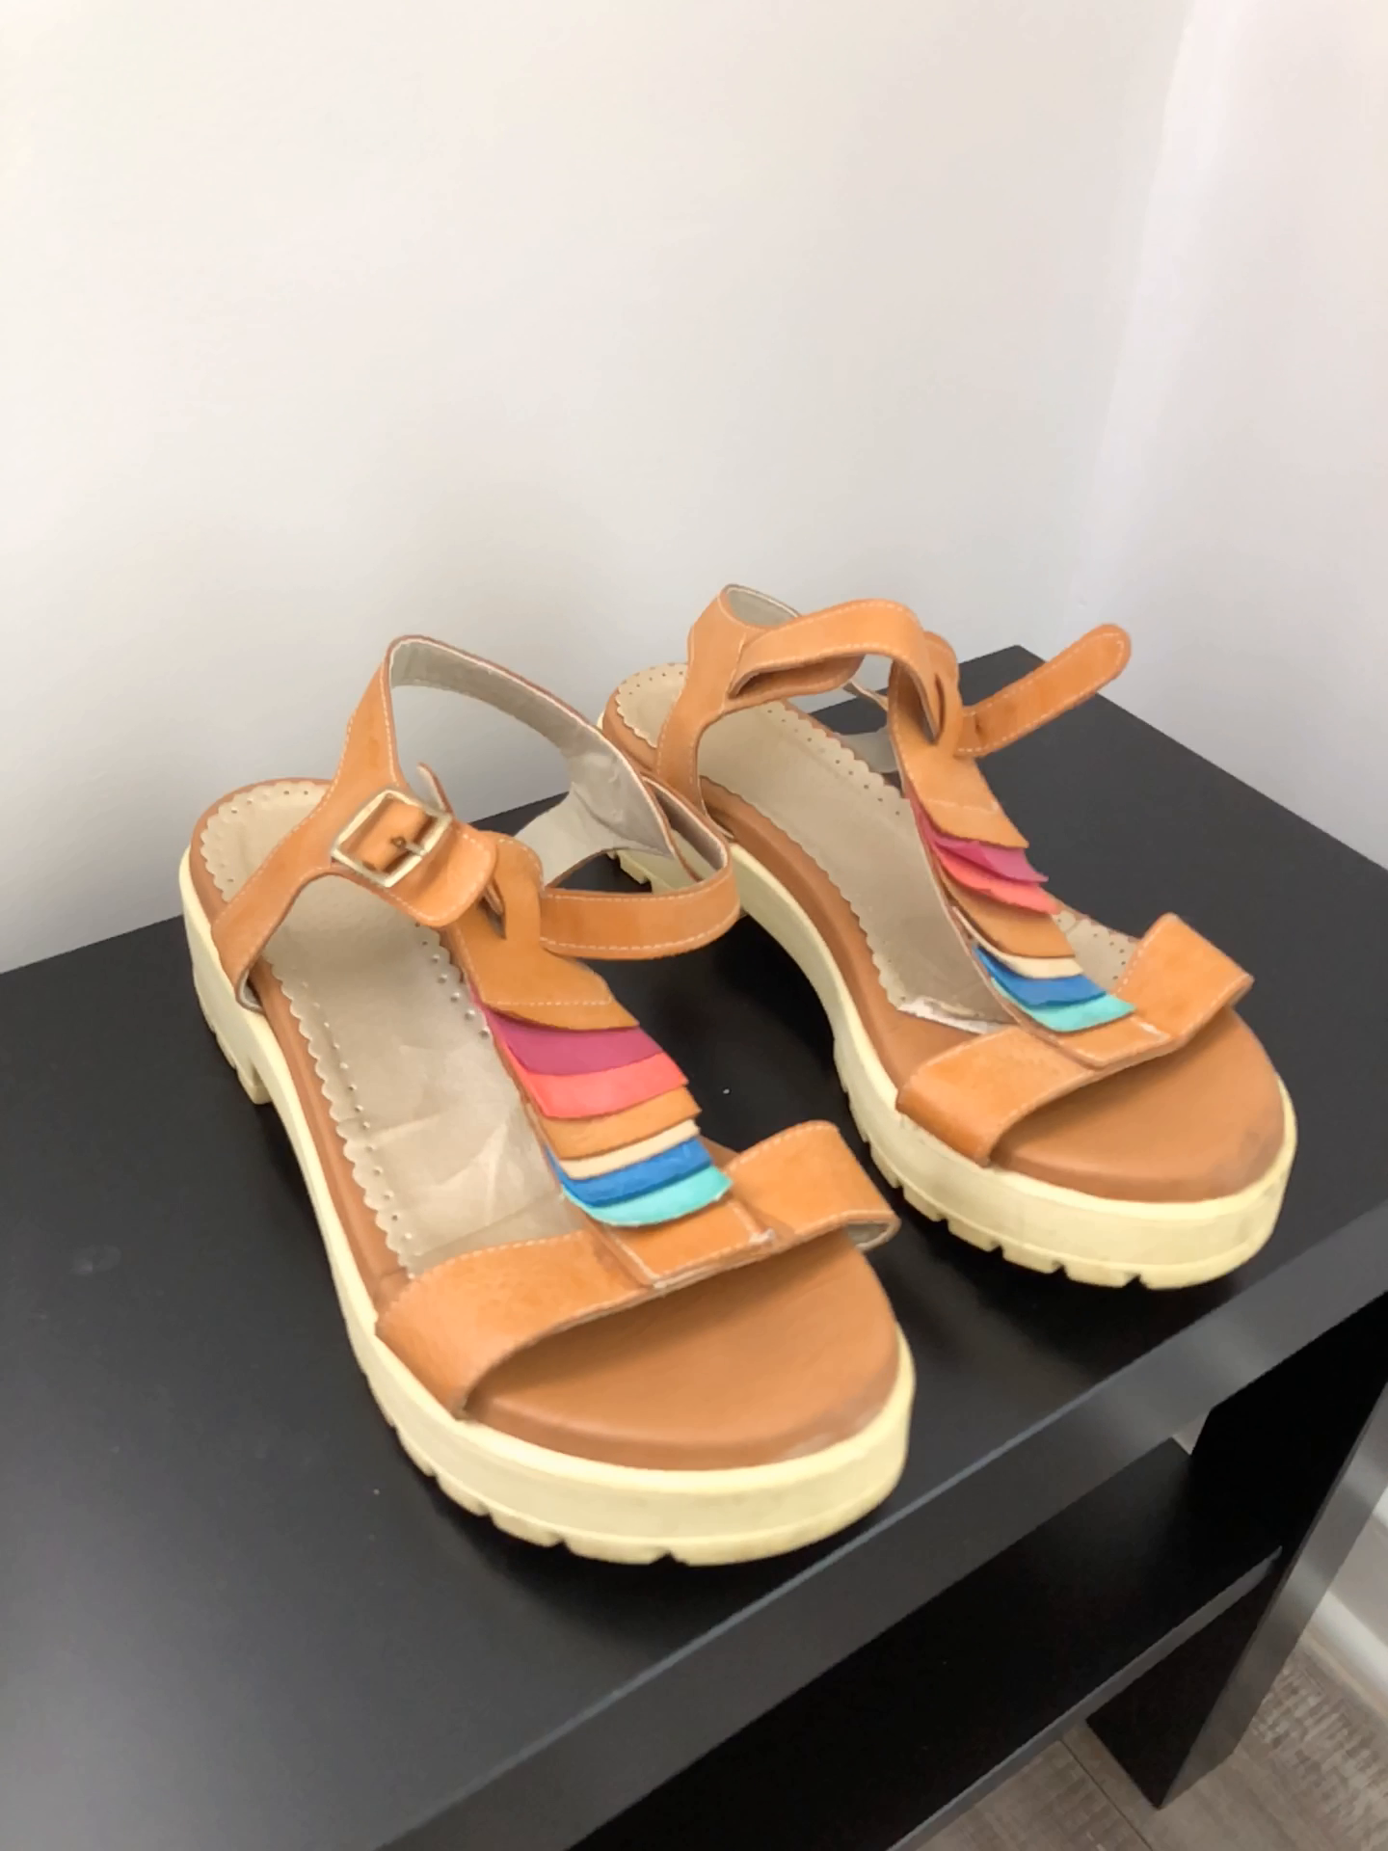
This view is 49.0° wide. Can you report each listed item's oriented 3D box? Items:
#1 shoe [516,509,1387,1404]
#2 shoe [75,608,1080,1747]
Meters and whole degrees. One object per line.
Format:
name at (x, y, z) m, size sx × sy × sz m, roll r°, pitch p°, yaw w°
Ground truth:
shoe at (0.057, -0.015, 0.389) m, size 0.100 × 0.077 × 0.248 m, roll -20°, pitch 44°, yaw -26°
shoe at (-0.045, 0.028, 0.342) m, size 0.100 × 0.083 × 0.248 m, roll -20°, pitch 44°, yaw -26°
